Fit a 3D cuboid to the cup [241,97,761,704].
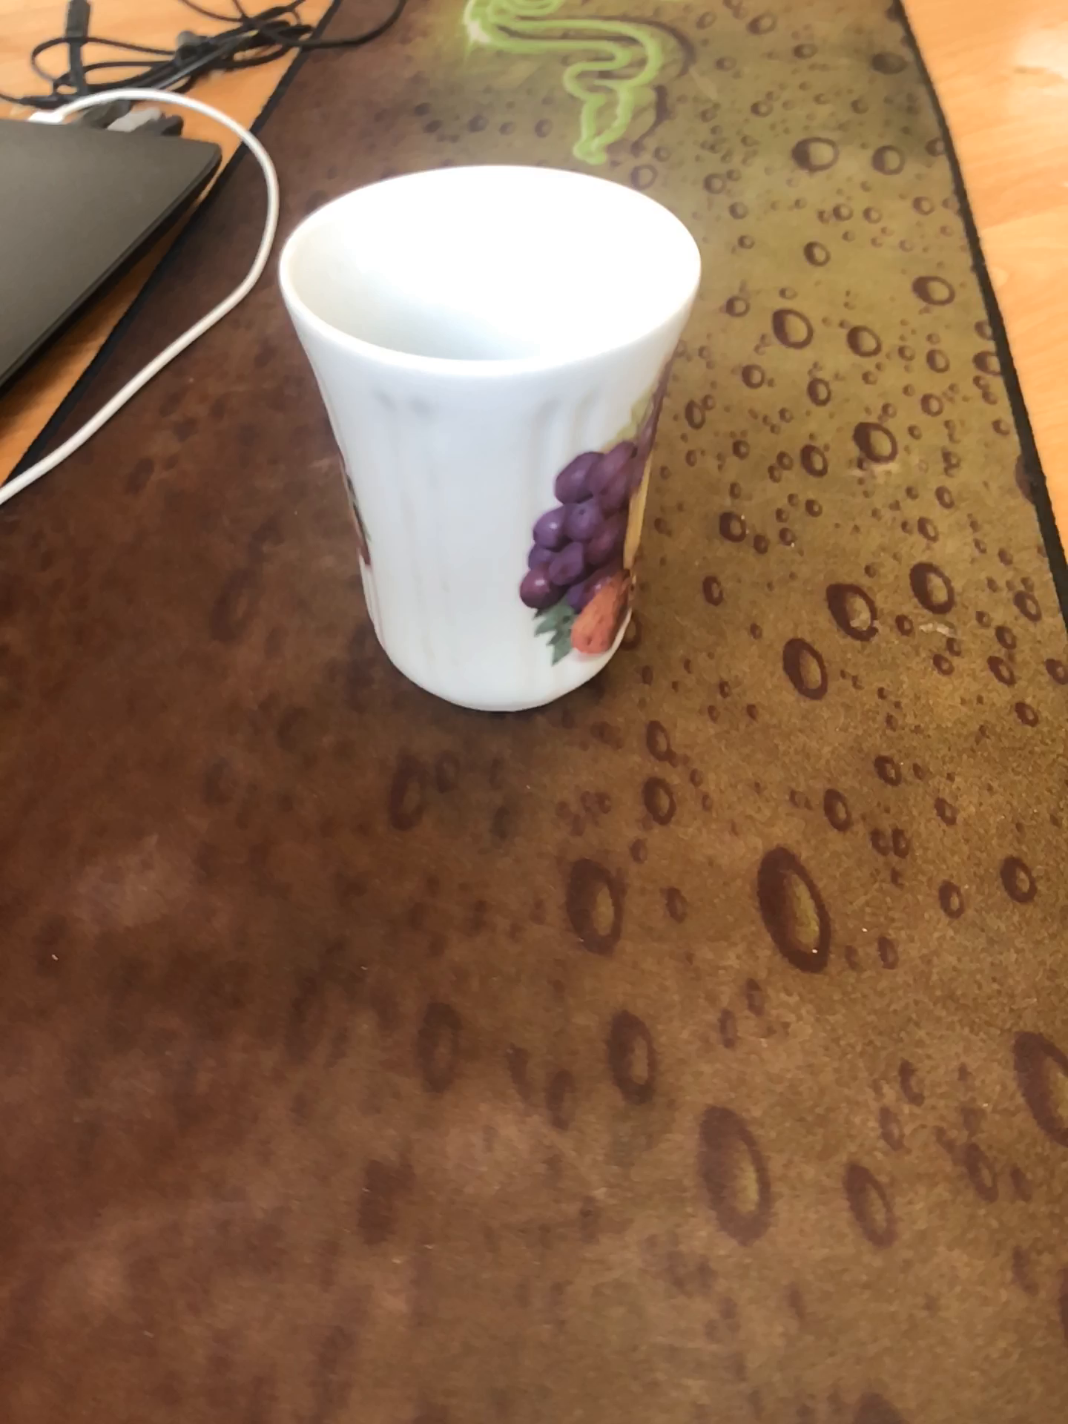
[{"bbox_3d":[-0.005,-0.066,0.247,0.080,0.080,0.100,0,47,0],"label":"cup"}]
